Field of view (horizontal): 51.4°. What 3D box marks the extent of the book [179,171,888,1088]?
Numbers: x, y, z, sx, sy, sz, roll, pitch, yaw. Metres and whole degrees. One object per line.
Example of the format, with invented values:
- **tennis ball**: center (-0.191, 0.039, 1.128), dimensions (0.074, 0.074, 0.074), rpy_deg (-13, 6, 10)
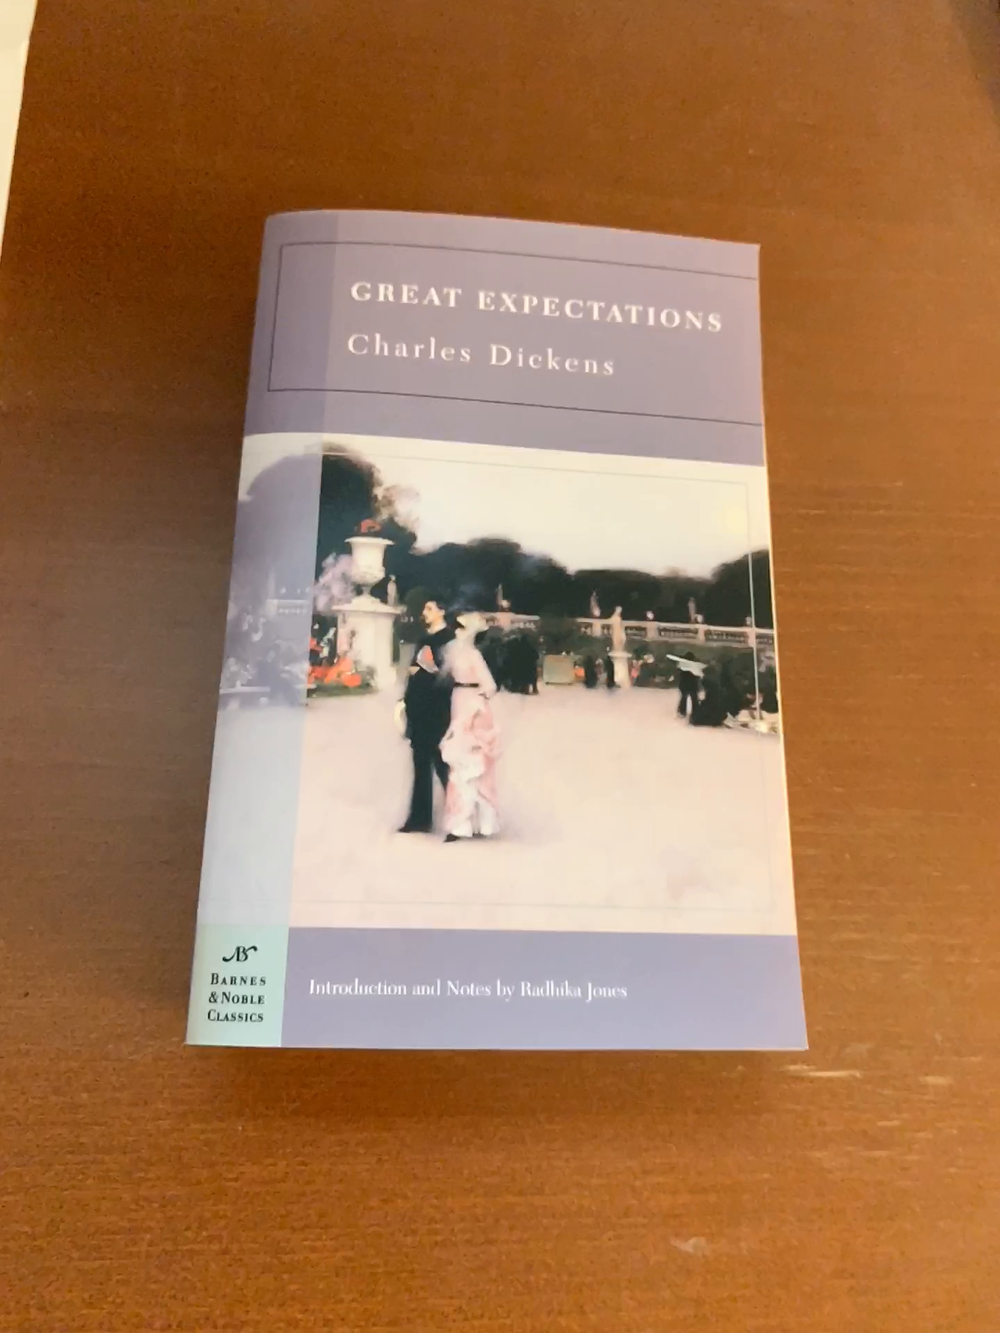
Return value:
- **book**: center (0.007, -0.012, 0.246), dimensions (0.140, 0.040, 0.201), rpy_deg (2, 76, -7)
